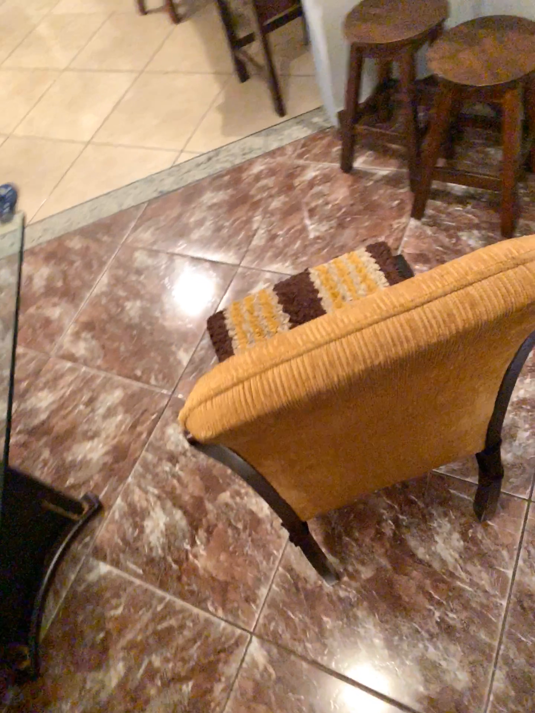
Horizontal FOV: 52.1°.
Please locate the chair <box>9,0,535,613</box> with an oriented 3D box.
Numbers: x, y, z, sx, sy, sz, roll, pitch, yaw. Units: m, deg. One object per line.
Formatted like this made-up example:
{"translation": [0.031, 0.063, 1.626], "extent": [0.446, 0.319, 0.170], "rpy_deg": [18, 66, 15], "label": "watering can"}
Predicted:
{"translation": [0.106, -0.012, 0.975], "extent": [0.560, 0.937, 0.602], "rpy_deg": [-24, 56, 2], "label": "chair"}
